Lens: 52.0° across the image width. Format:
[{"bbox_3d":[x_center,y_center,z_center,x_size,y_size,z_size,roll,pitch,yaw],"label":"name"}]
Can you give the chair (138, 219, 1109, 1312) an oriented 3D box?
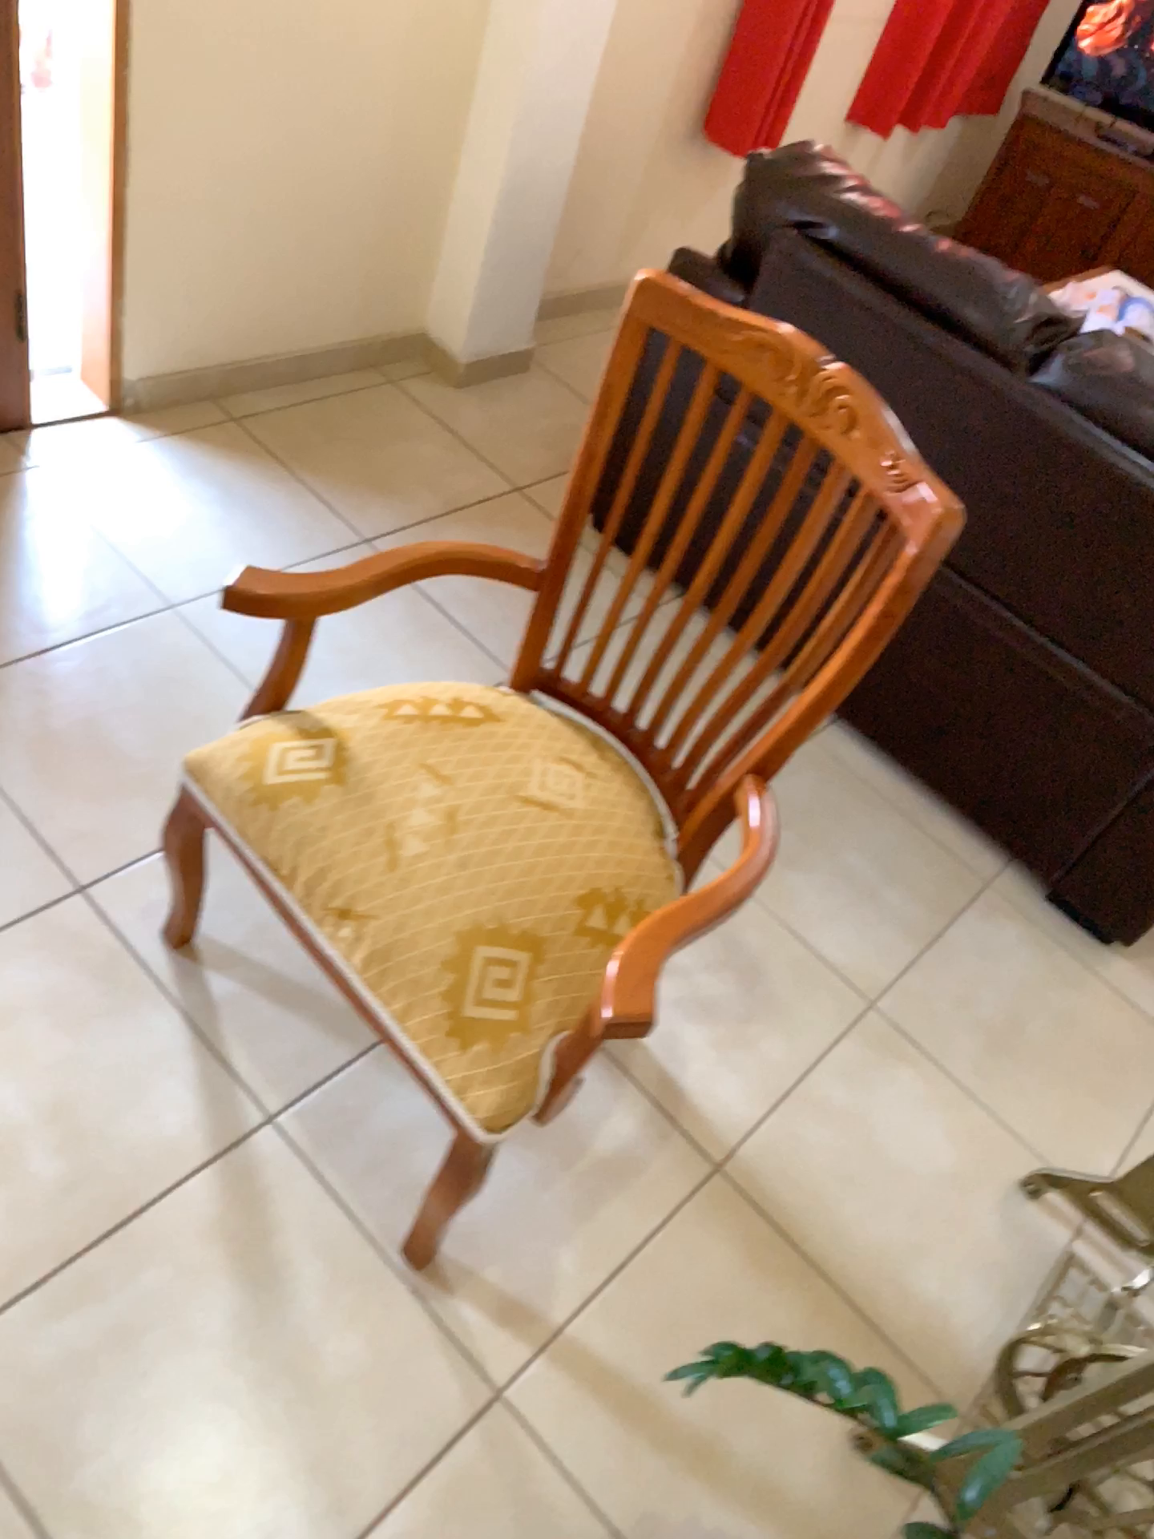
[{"bbox_3d":[-0.050,0.014,1.415,0.633,1.014,0.621,-27,63,-39],"label":"chair"}]
